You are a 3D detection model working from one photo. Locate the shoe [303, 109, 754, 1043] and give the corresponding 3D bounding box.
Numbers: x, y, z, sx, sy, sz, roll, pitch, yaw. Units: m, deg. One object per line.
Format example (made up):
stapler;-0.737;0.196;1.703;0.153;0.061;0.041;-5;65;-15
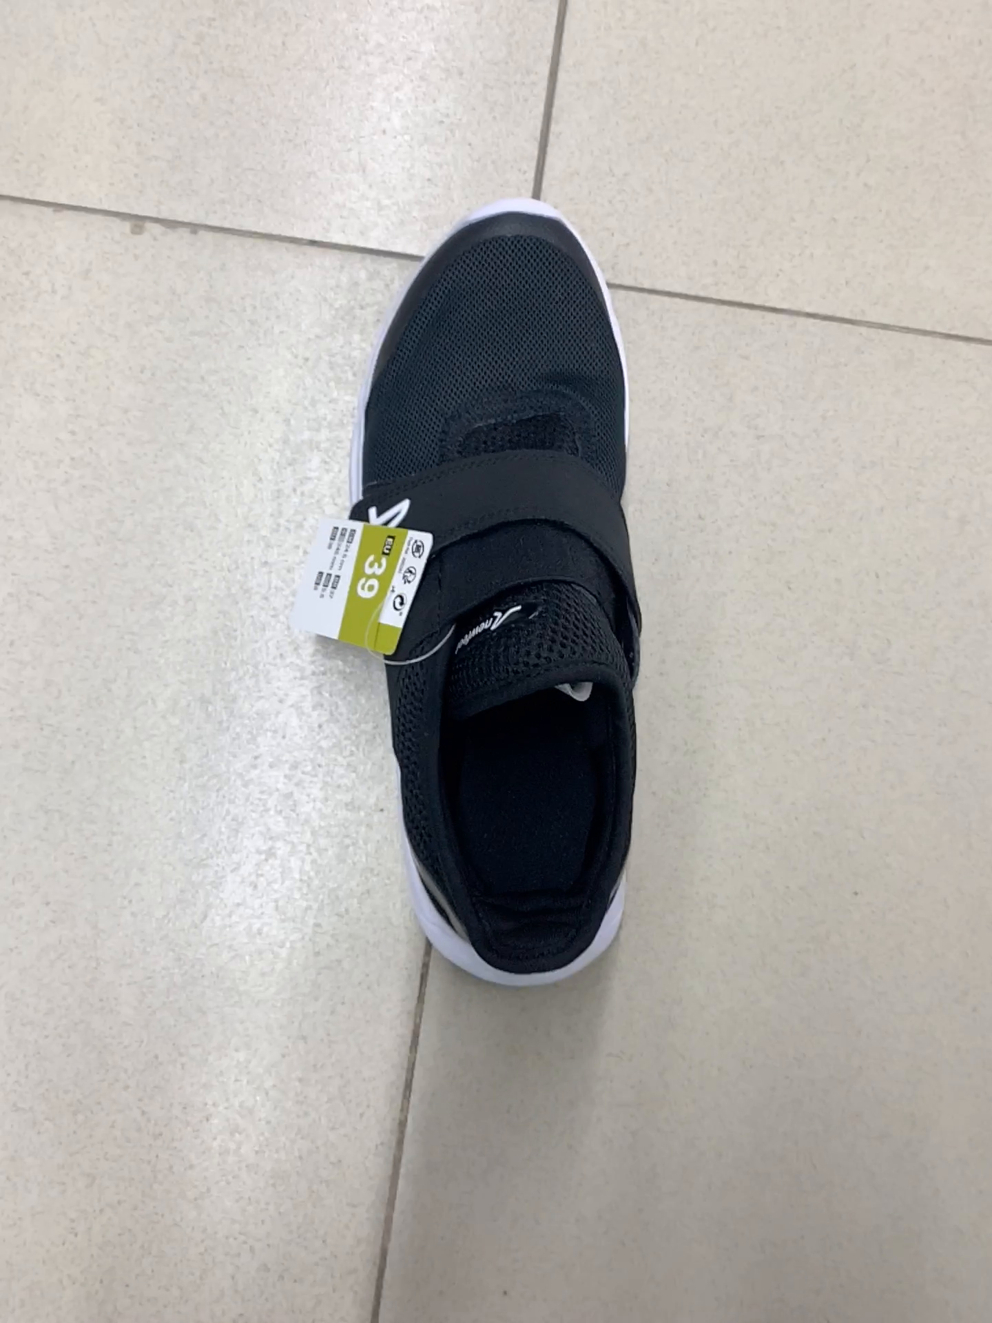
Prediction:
shoe;0.006;-0.024;0.327;0.110;0.100;0.250;-3;86;-2
